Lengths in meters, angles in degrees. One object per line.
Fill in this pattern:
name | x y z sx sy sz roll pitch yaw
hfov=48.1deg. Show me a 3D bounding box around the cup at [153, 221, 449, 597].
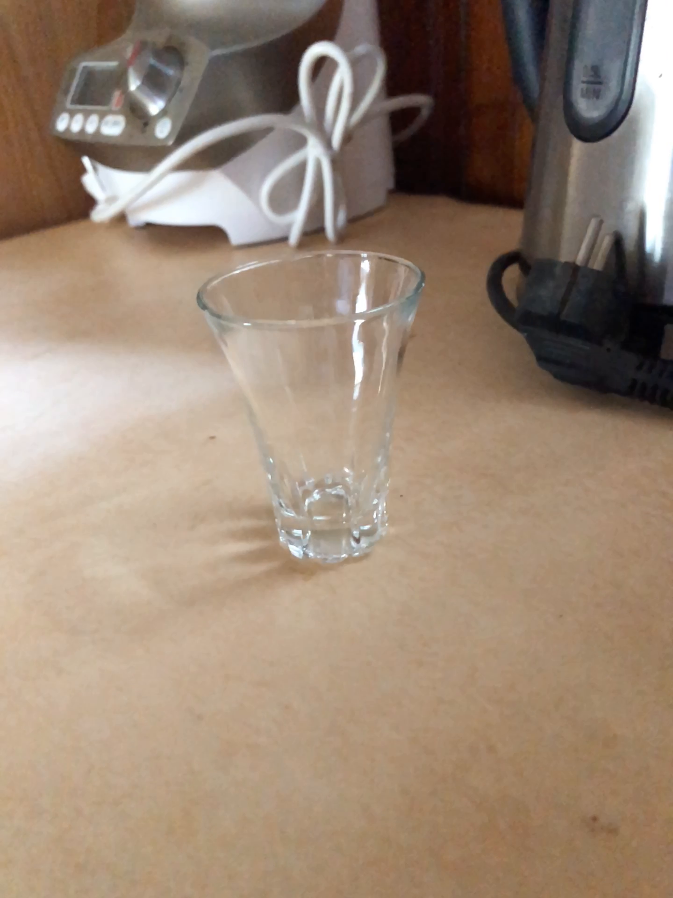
cup | -0.007 -0.013 0.190 0.050 0.070 0.050 -4 30 2
